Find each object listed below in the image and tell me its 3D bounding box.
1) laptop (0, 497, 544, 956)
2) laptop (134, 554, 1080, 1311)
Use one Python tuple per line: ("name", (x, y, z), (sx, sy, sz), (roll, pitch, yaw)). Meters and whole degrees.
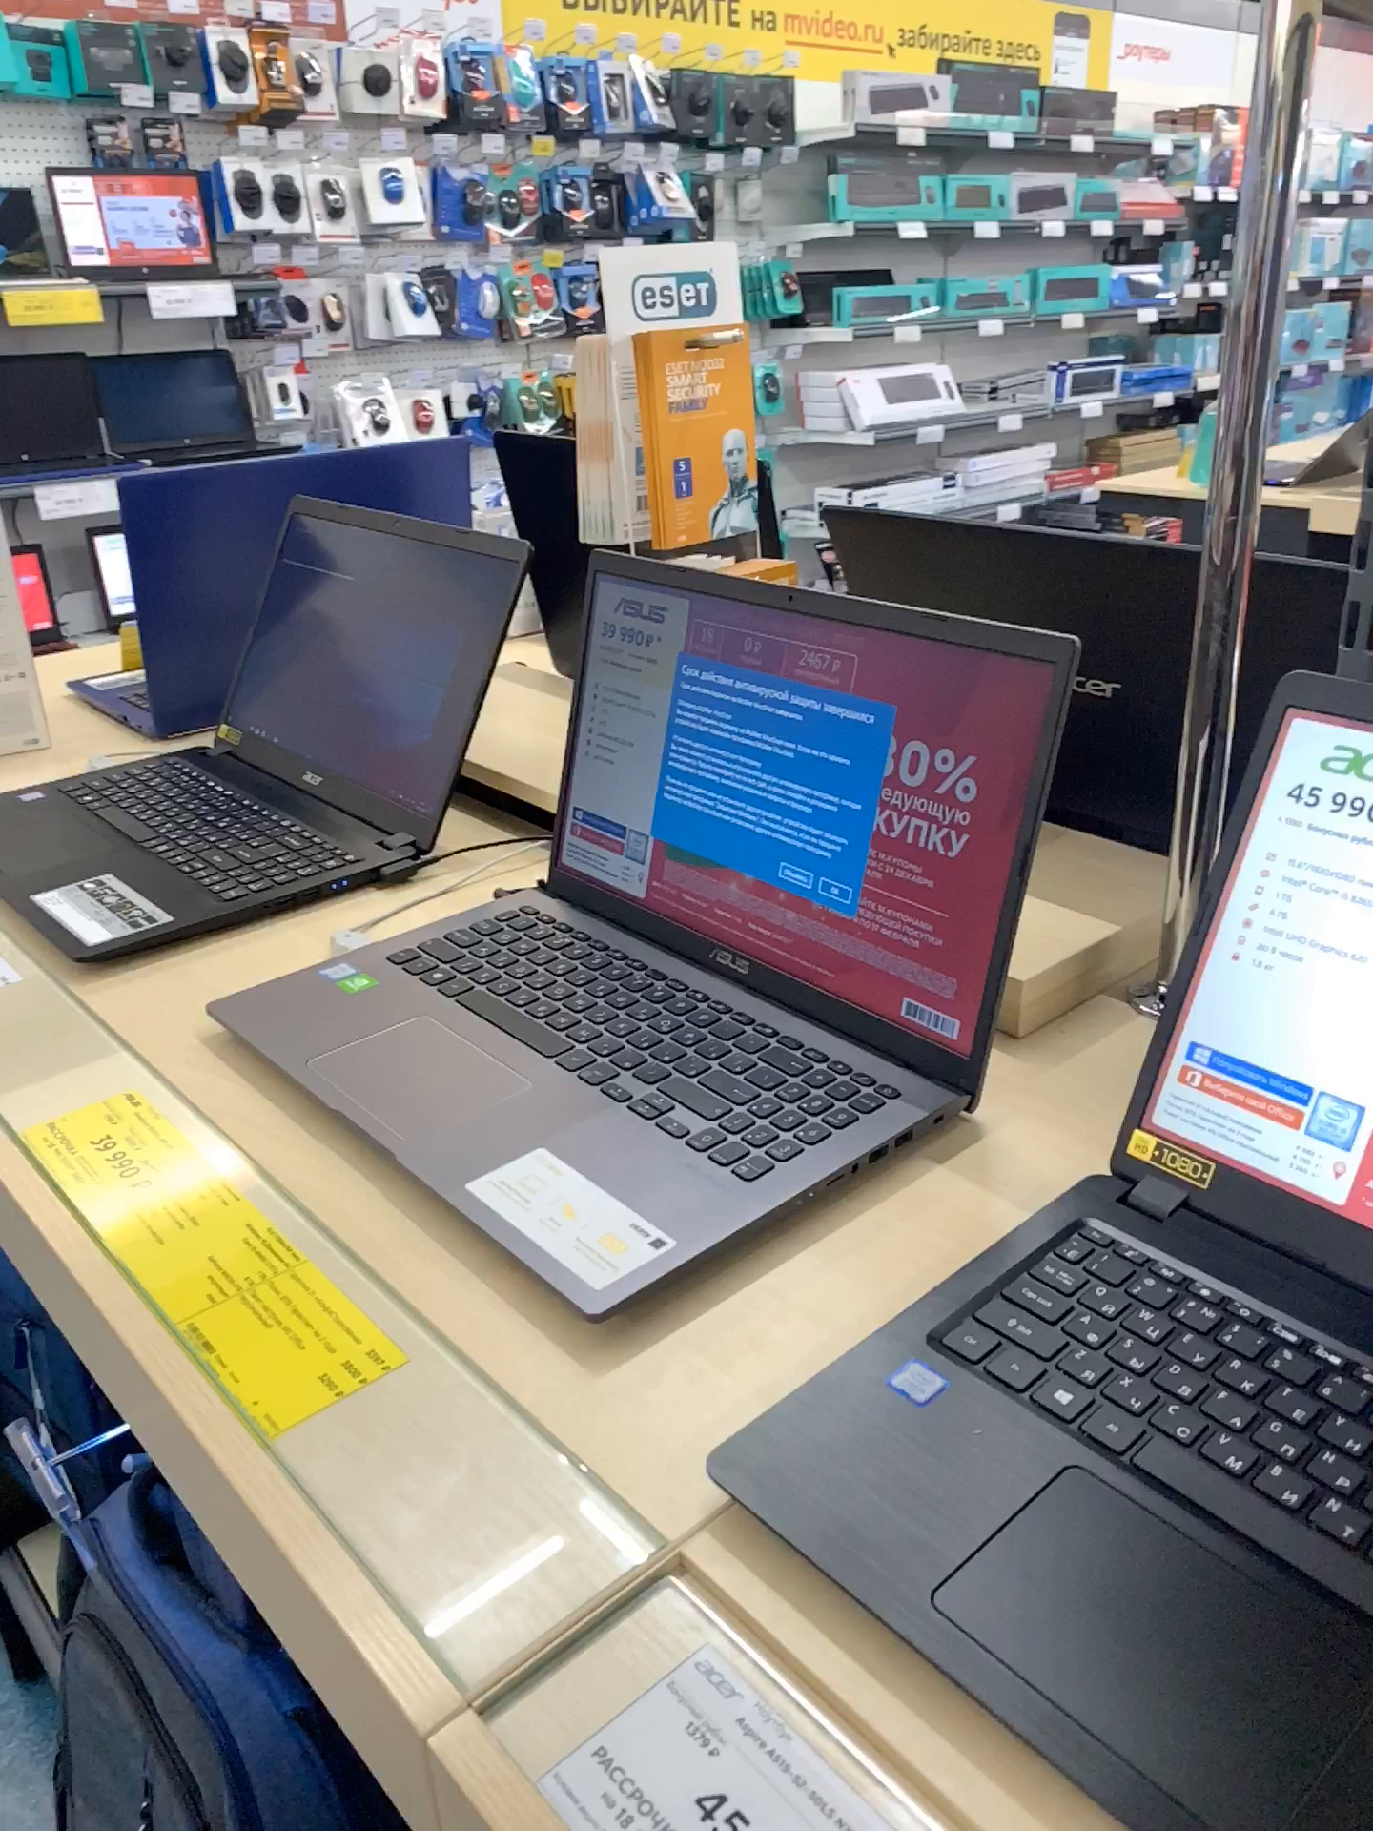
("laptop", (-0.369, -0.174, 1.070), (0.361, 0.214, 0.351), (-20, 30, -37))
("laptop", (-0.049, -0.038, 0.729), (0.298, 0.217, 0.367), (-21, 30, -36))
